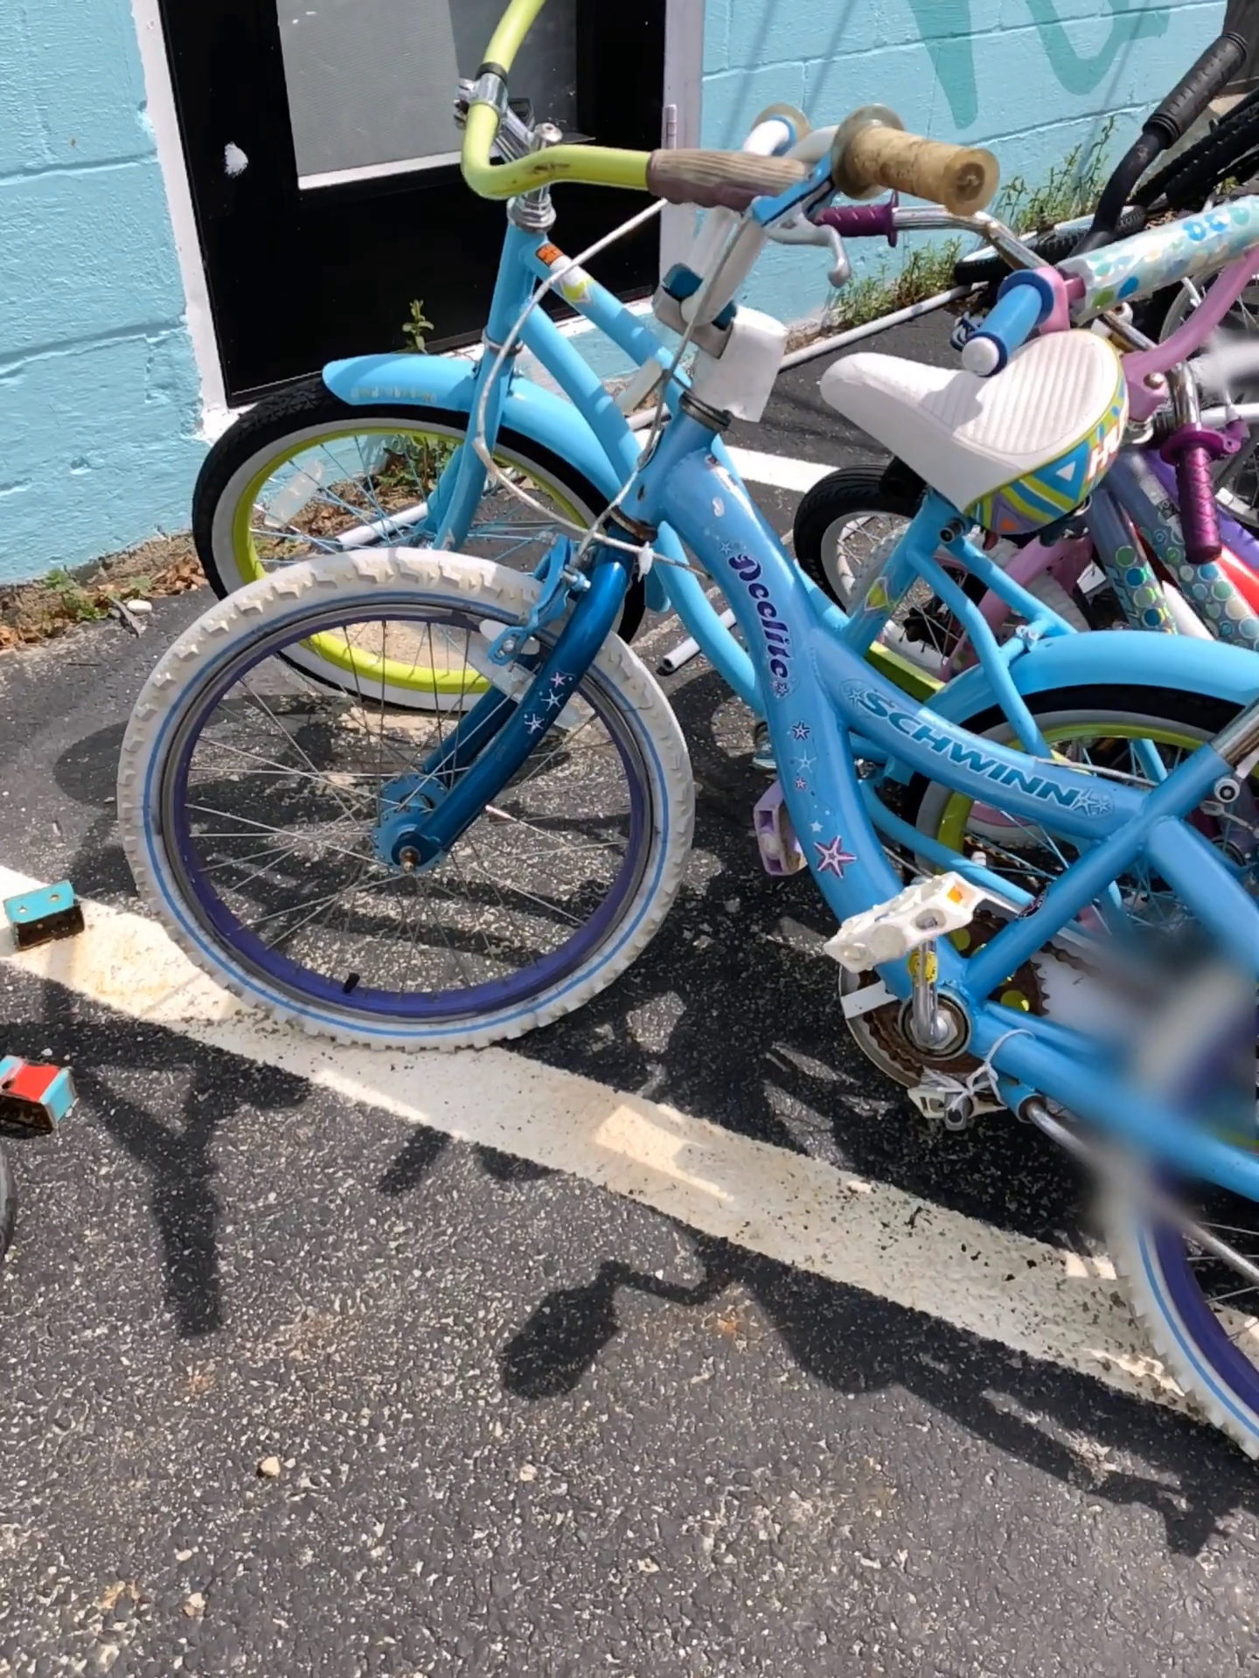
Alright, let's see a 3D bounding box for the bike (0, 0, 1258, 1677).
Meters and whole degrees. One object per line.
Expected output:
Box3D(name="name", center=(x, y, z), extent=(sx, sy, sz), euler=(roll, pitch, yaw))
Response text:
Box3D(name="bike", center=(0.276, -0.139, 0.943), extent=(1.266, 0.776, 0.559), euler=(20, 41, 15))
